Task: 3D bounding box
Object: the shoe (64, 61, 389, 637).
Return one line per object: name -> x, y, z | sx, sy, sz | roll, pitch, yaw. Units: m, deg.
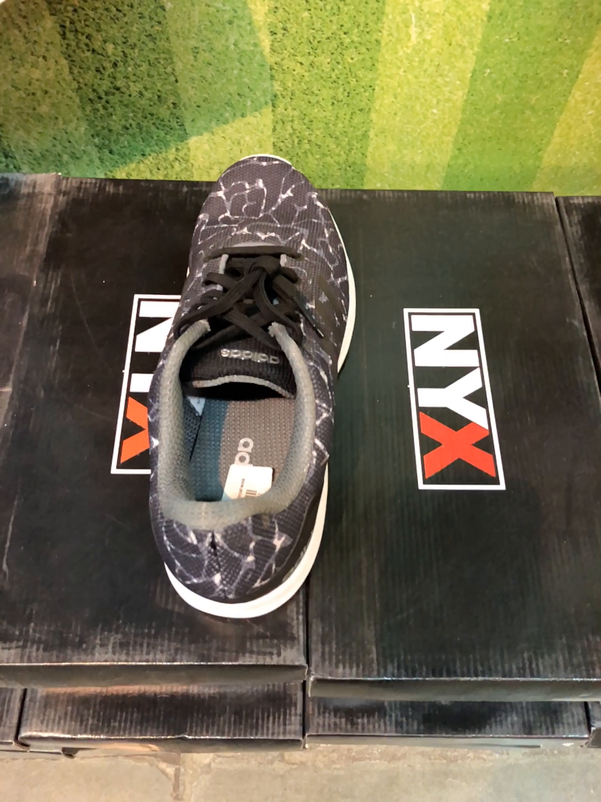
shoe -> -0.017, -0.031, 0.337 | 0.108, 0.122, 0.262 | 4, 61, 1
